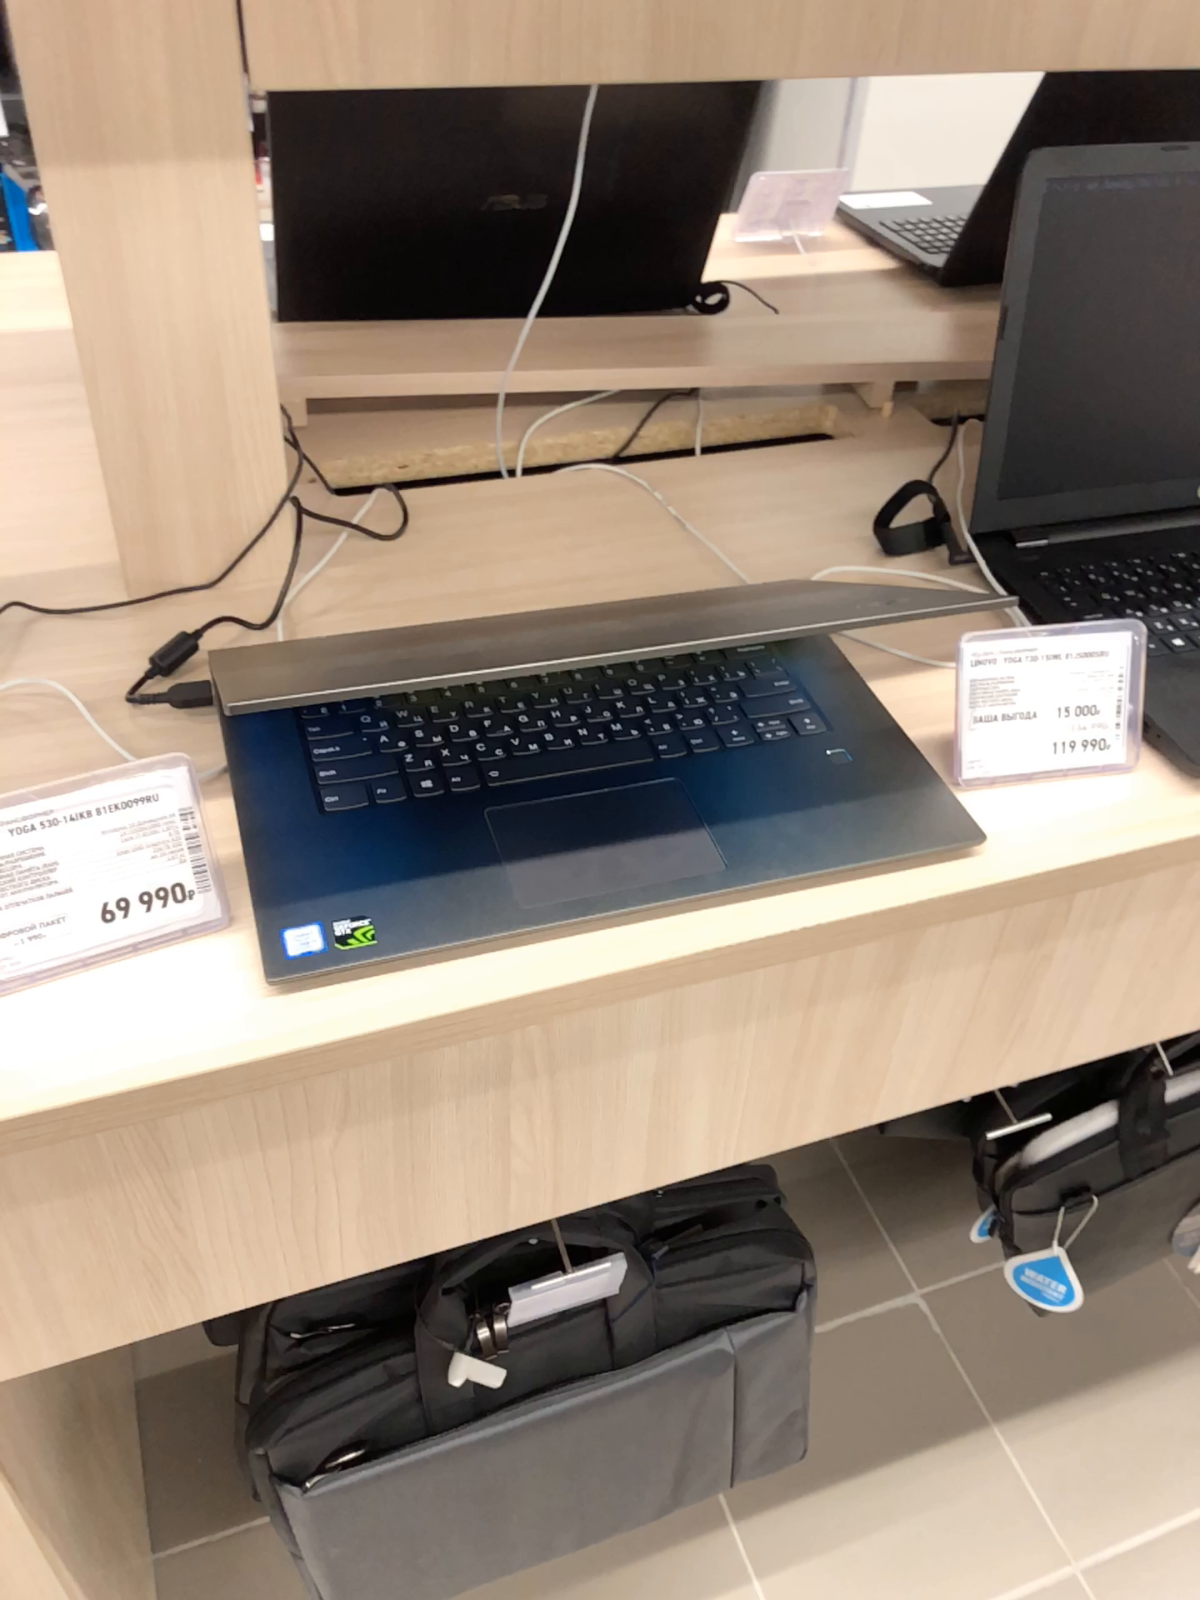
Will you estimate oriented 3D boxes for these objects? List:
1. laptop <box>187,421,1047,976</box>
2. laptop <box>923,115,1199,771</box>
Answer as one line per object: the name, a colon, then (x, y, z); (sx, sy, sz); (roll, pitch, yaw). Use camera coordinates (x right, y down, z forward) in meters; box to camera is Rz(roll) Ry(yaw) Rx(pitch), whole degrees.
laptop: (-0.006, -0.073, 0.684); (0.362, 0.118, 0.243); (-9, 42, -17)
laptop: (0.485, -0.244, 0.827); (0.402, 0.240, 0.305); (-11, 44, -18)
